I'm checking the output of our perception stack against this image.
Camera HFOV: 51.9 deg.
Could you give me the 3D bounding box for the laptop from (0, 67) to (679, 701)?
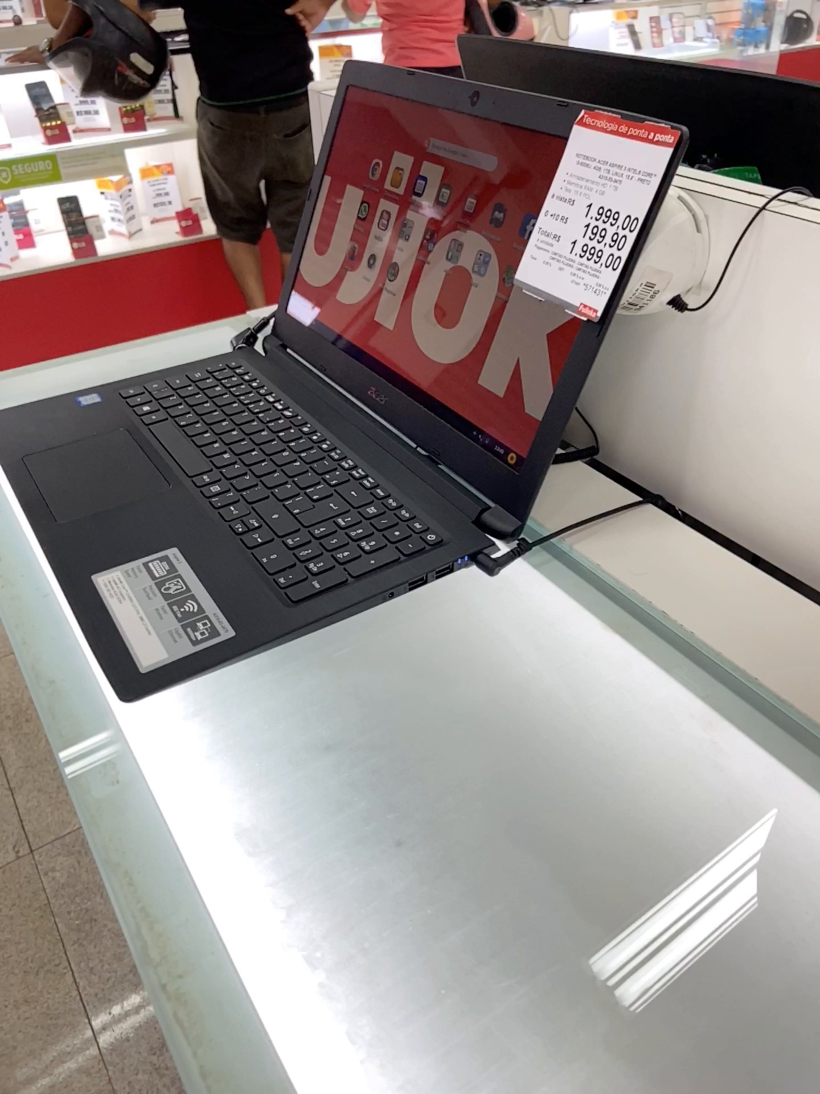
[{"bbox_3d":[-0.107,-0.170,0.590,0.370,0.229,0.393,-22,41,-25],"label":"laptop"}]
